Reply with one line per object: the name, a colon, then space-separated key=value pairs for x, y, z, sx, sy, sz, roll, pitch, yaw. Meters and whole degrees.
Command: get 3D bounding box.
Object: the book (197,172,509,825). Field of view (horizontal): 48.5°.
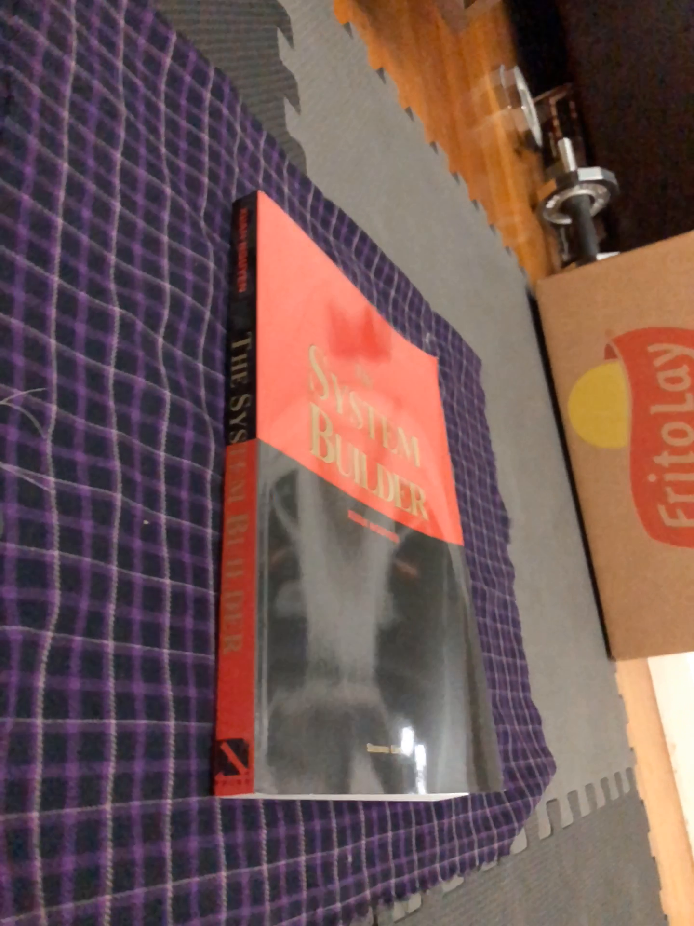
book: x=0.011 y=0.027 z=0.372 sx=0.201 sy=0.030 sz=0.260 roll=33 pitch=47 yaw=-52
